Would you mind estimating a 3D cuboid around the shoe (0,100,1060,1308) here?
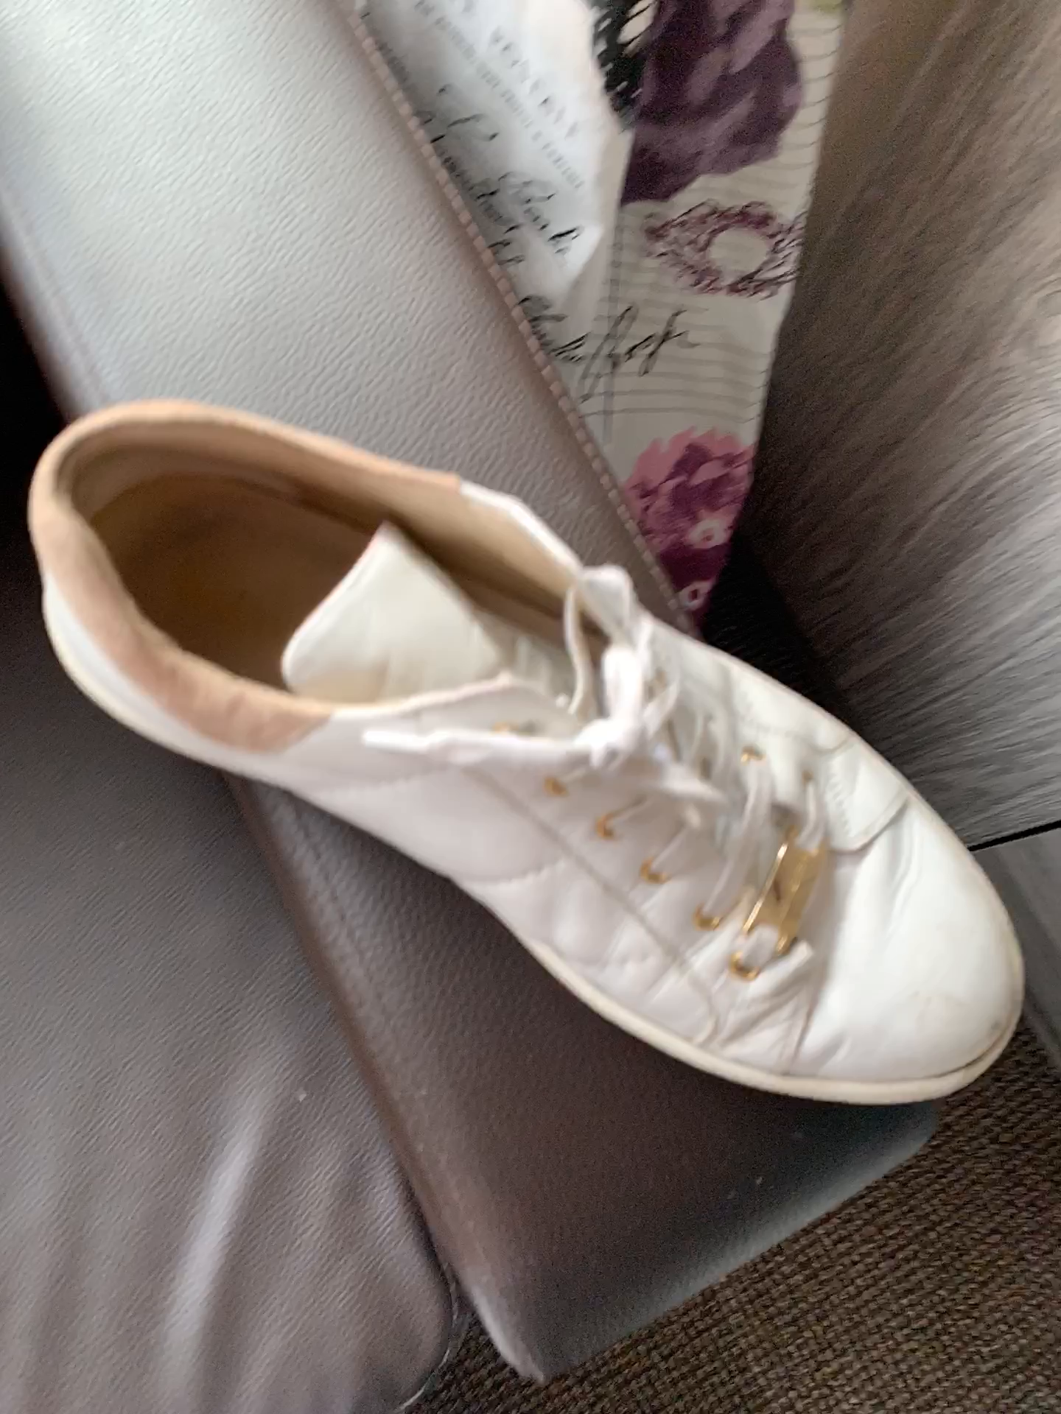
[{"bbox_3d":[0.014,0.004,0.245,0.270,0.110,0.110,27,73,1],"label":"shoe"}]
